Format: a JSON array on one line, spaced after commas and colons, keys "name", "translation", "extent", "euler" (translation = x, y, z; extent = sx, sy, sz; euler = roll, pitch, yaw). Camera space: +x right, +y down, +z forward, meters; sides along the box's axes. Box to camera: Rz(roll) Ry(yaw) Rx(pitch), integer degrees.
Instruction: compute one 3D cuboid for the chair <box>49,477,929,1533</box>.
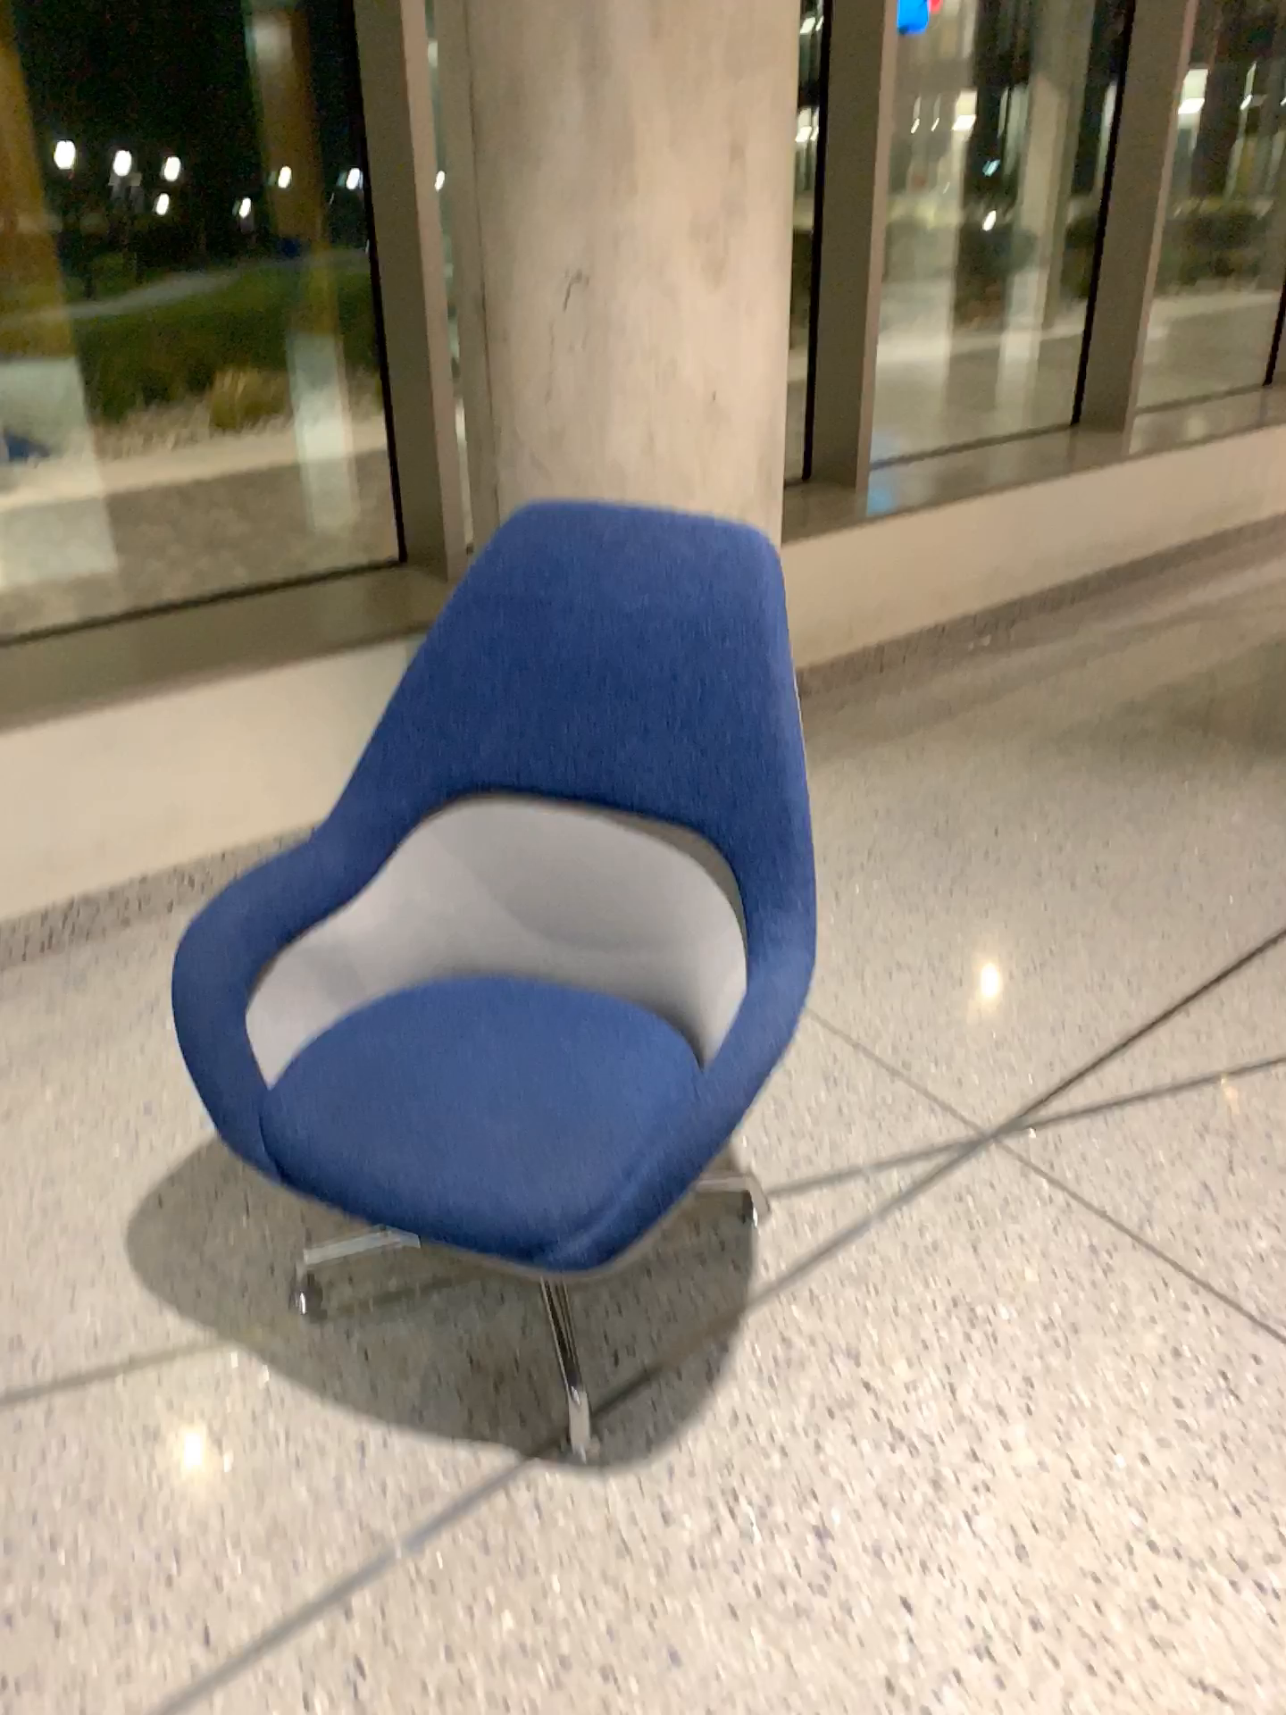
[{"name": "chair", "translation": [-0.137, 0.106, 1.643], "extent": [0.717, 0.962, 0.637], "euler": [14, 30, 27]}]
